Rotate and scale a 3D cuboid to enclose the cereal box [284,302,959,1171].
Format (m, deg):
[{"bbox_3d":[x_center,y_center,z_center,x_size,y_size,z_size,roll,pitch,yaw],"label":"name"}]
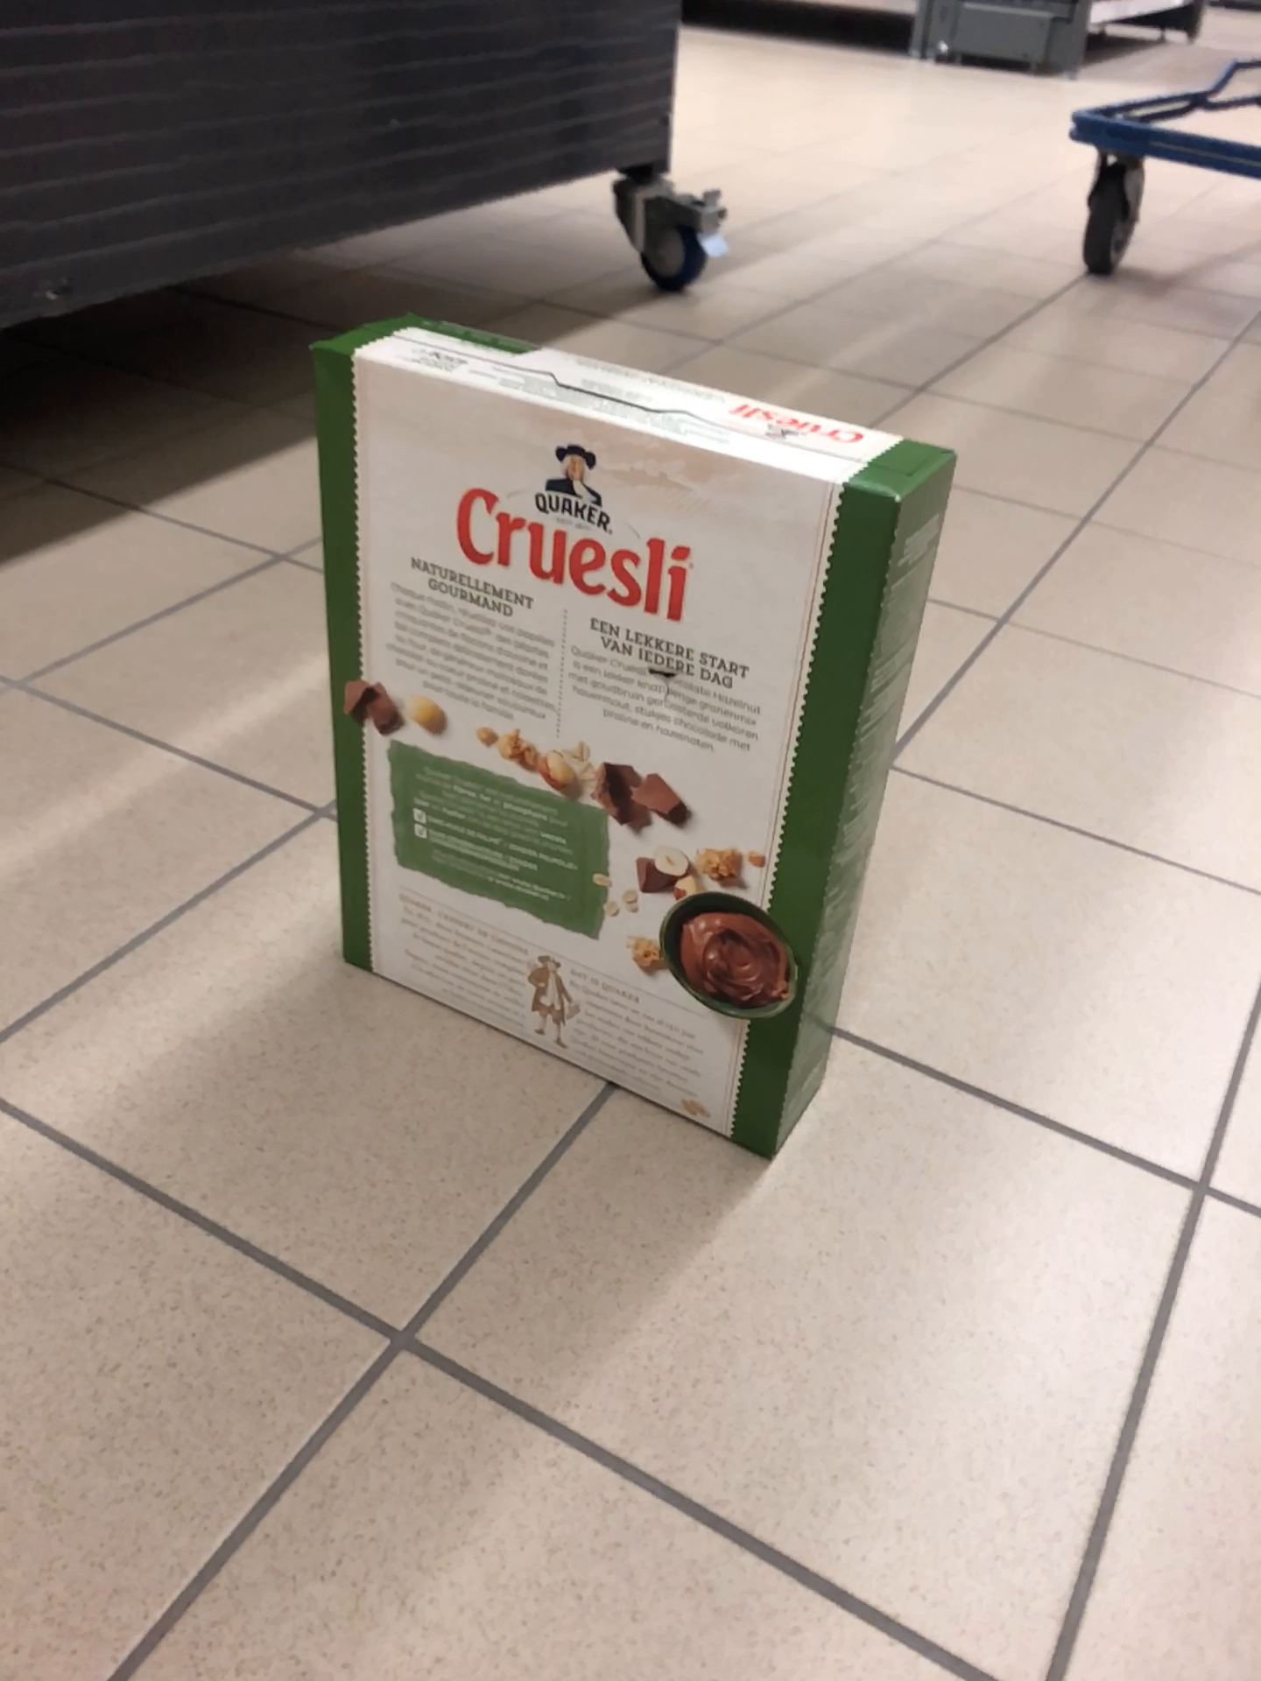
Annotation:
[{"bbox_3d":[-0.015,-0.032,0.466,0.190,0.239,0.060,22,38,22],"label":"cereal box"}]
